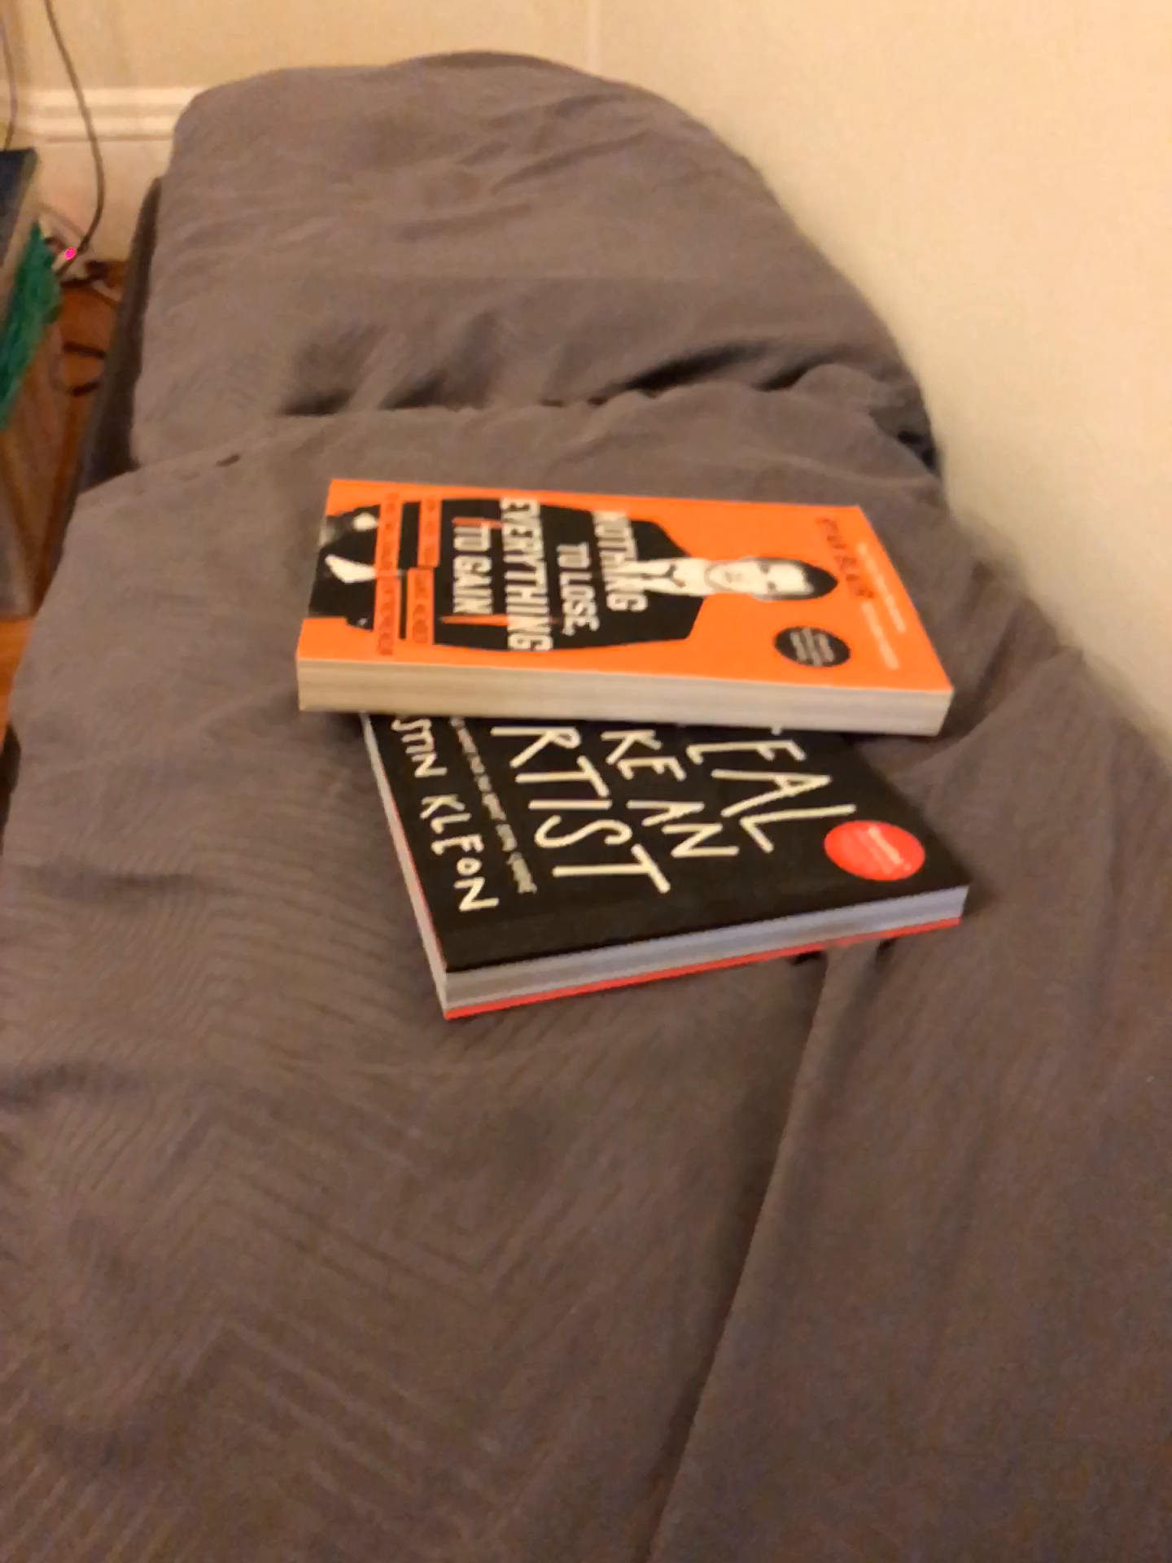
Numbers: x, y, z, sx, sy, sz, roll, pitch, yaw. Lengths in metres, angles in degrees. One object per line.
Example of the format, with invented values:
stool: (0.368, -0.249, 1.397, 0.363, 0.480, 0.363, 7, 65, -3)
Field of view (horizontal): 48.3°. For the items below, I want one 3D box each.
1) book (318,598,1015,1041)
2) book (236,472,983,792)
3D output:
book: (0.016, -0.001, 0.402, 0.170, 0.020, 0.151, -8, 41, -17)
book: (0.003, -0.061, 0.471, 0.230, 0.020, 0.171, -1, 40, -6)
